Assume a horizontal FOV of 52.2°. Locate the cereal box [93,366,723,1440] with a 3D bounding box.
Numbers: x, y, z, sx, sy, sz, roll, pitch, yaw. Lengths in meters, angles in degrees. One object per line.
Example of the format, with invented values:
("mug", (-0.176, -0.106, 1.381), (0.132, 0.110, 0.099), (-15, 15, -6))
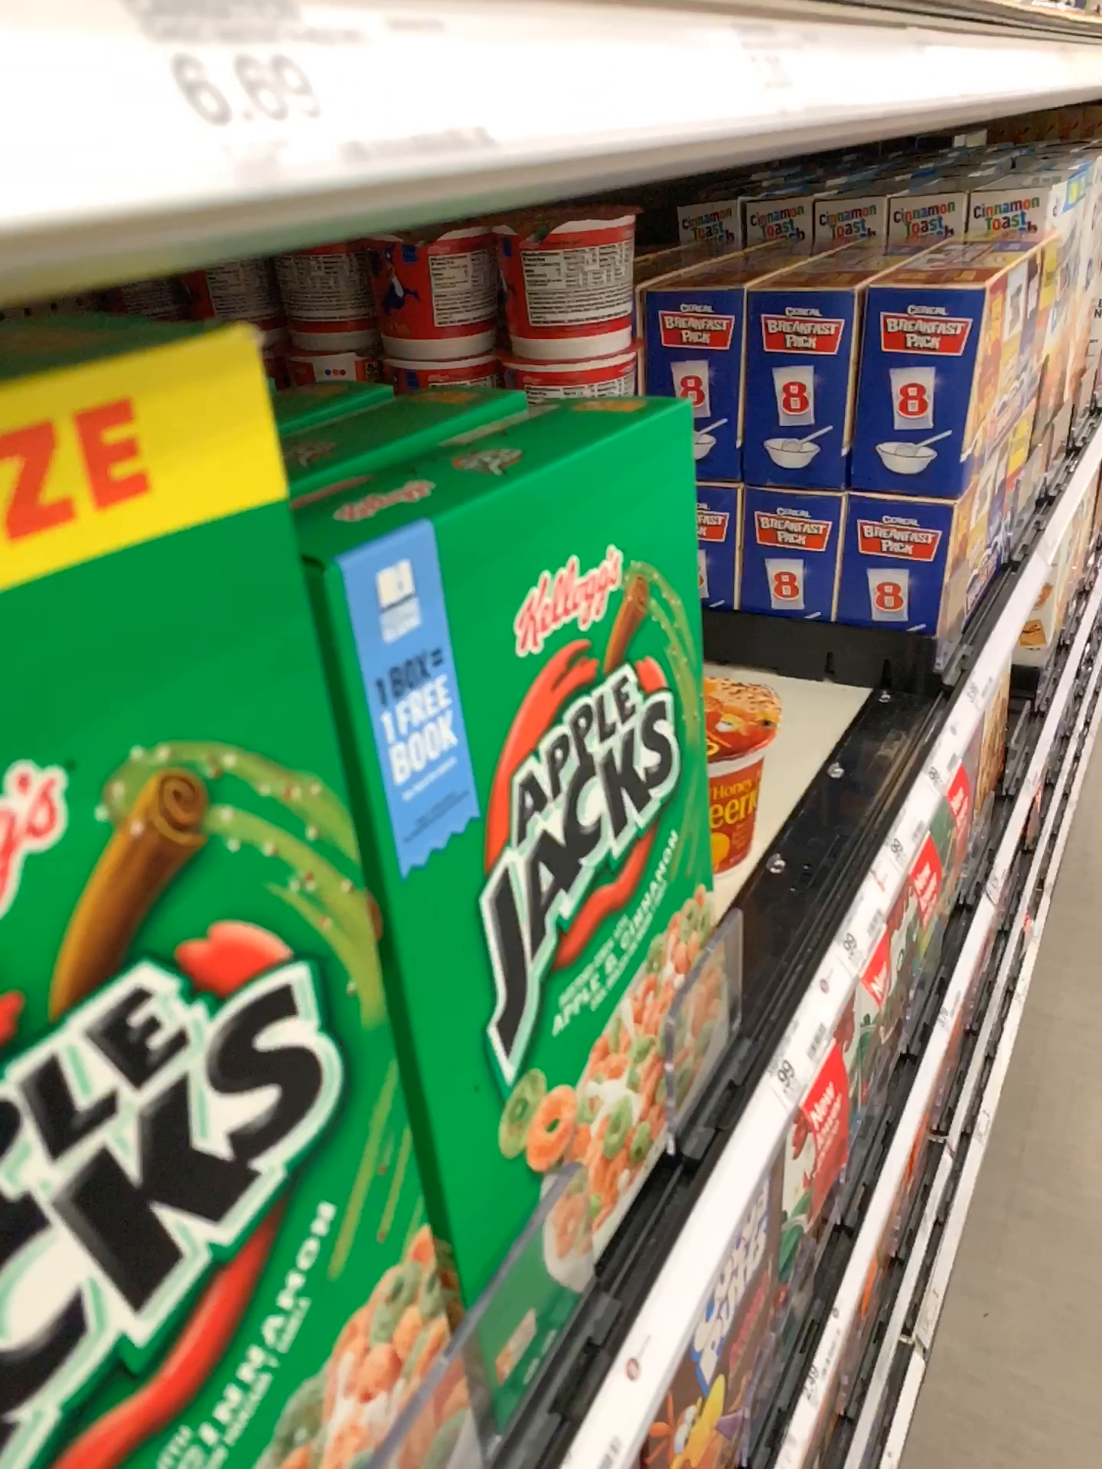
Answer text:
("cereal box", (-0.014, 0.044, 0.382), (0.060, 0.289, 0.201), (7, 29, 28))
